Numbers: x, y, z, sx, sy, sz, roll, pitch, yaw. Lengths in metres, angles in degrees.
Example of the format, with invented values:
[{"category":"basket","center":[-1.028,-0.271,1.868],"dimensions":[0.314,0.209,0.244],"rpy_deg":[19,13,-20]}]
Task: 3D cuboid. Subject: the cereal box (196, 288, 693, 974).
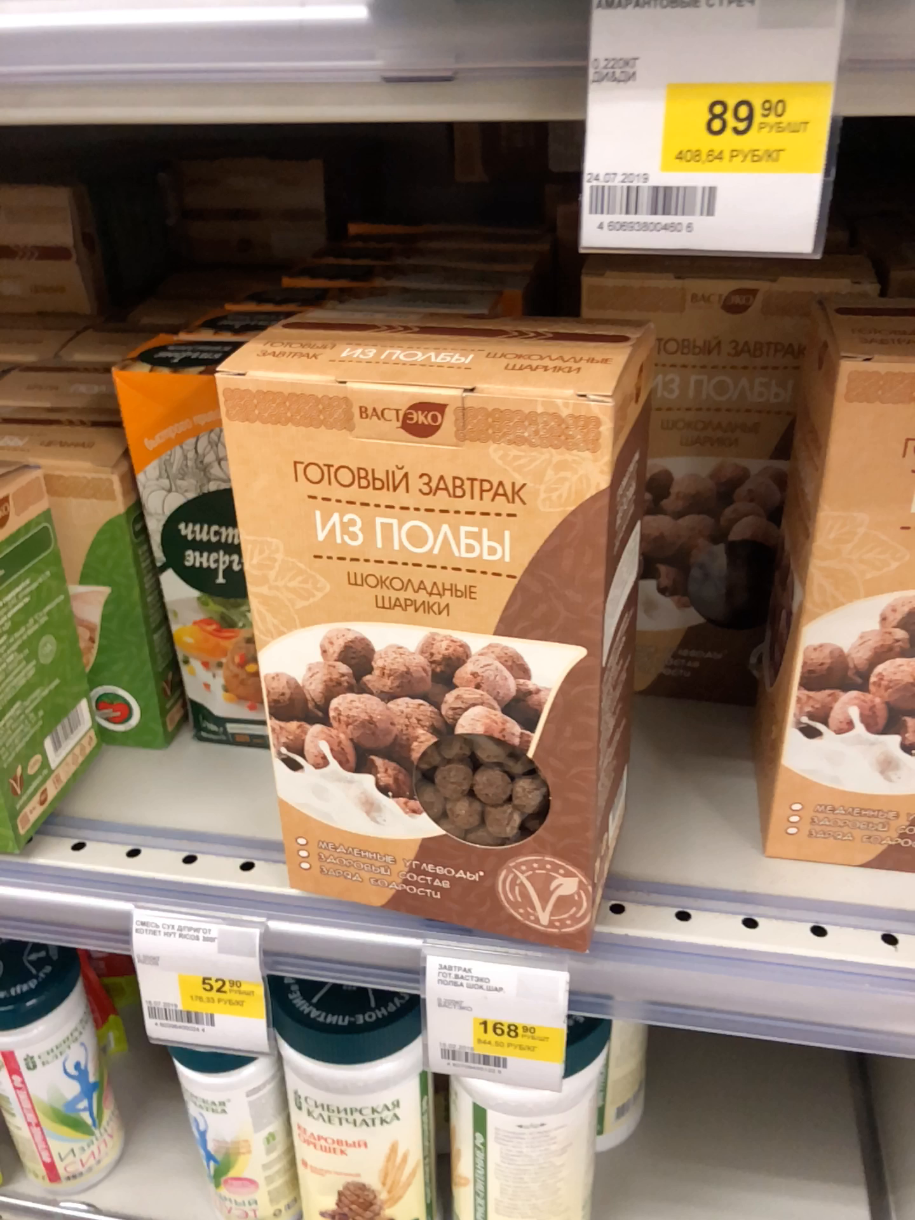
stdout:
[{"category":"cereal box","center":[0.001,0.007,0.352],"dimensions":[0.130,0.209,0.080],"rpy_deg":[8,29,16]}]
